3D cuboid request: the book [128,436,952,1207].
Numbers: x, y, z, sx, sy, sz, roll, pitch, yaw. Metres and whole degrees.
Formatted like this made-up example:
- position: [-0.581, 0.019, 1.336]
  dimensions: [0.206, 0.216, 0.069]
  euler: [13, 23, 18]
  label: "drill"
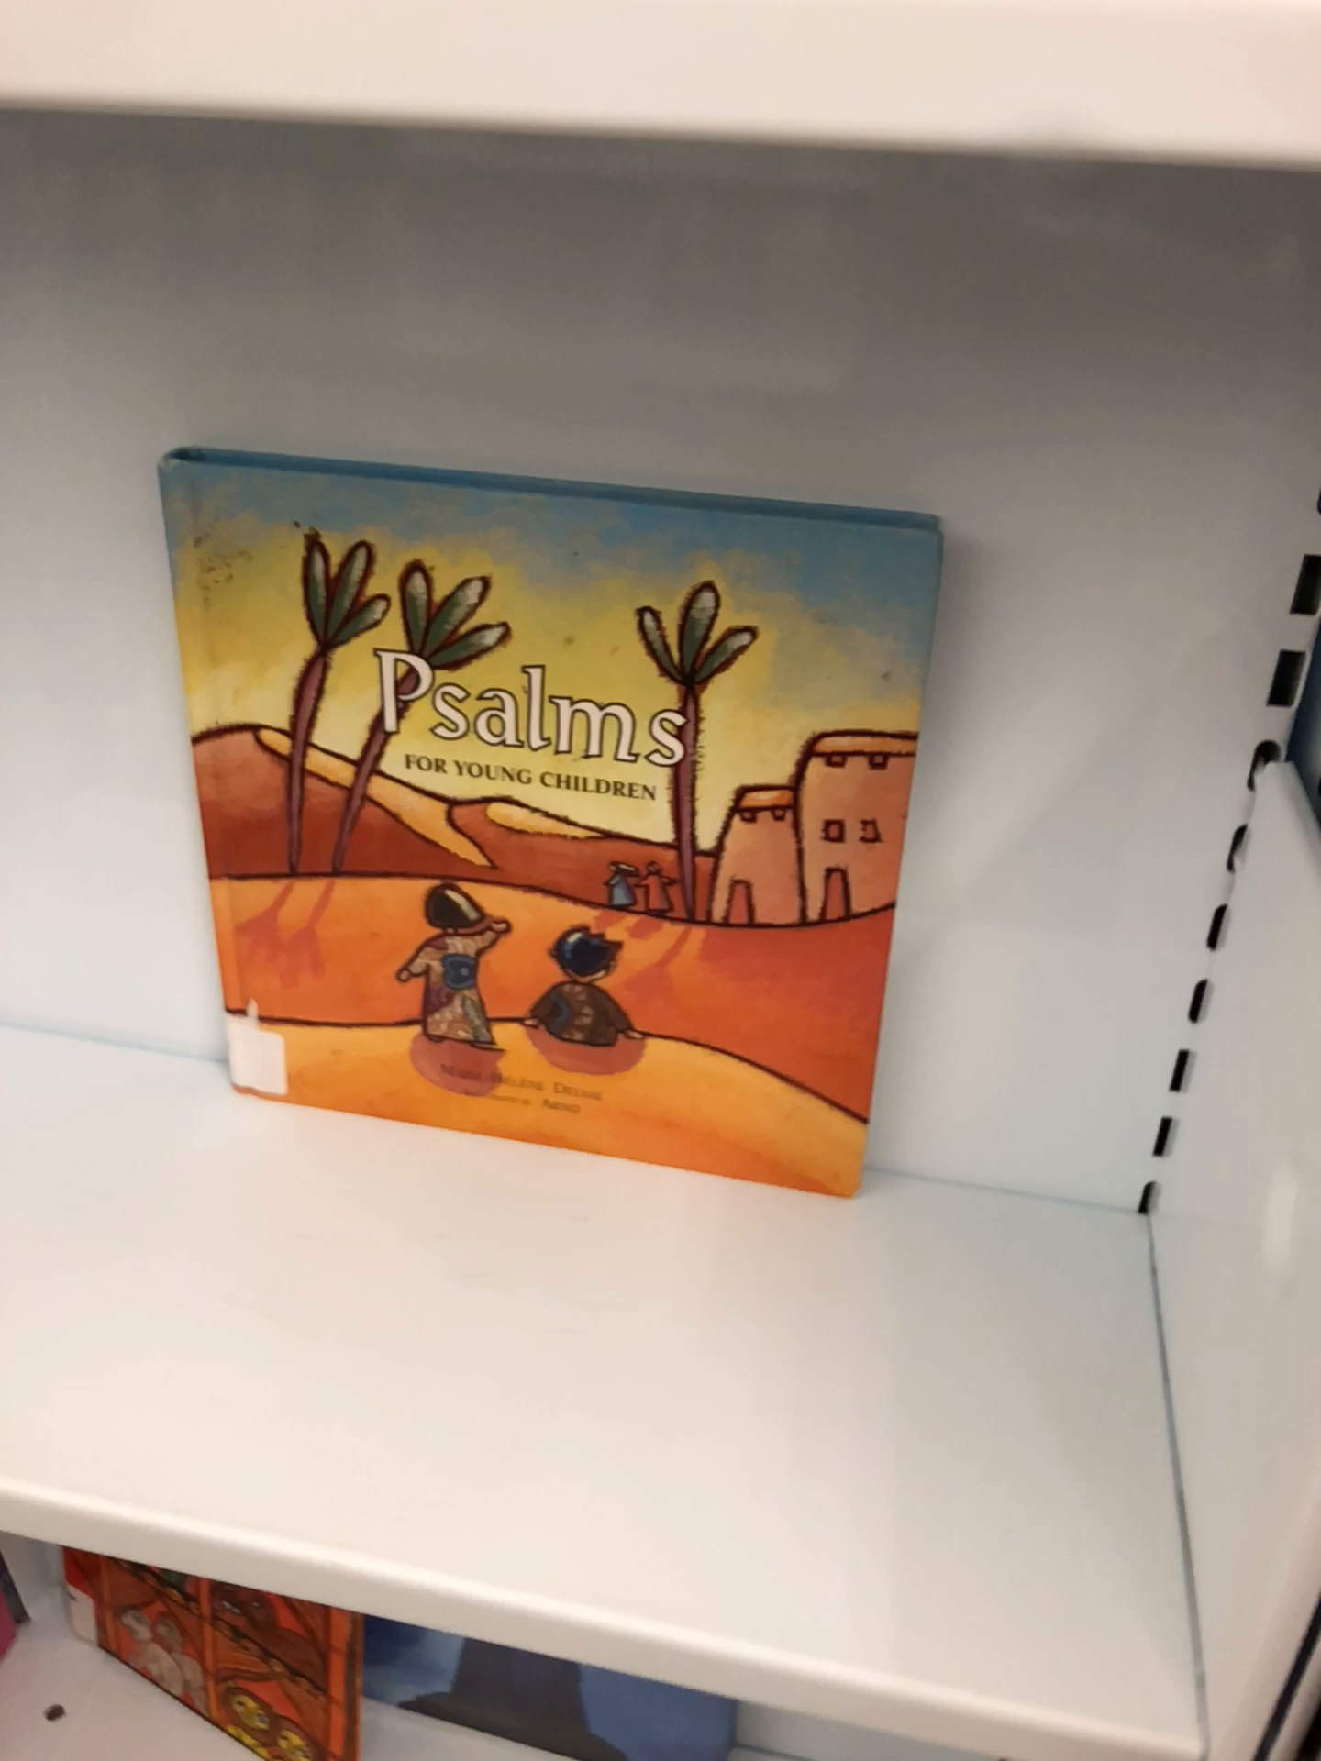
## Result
- position: [-0.038, -0.011, 0.421]
  dimensions: [0.212, 0.205, 0.021]
  euler: [8, 28, 9]
  label: "book"
